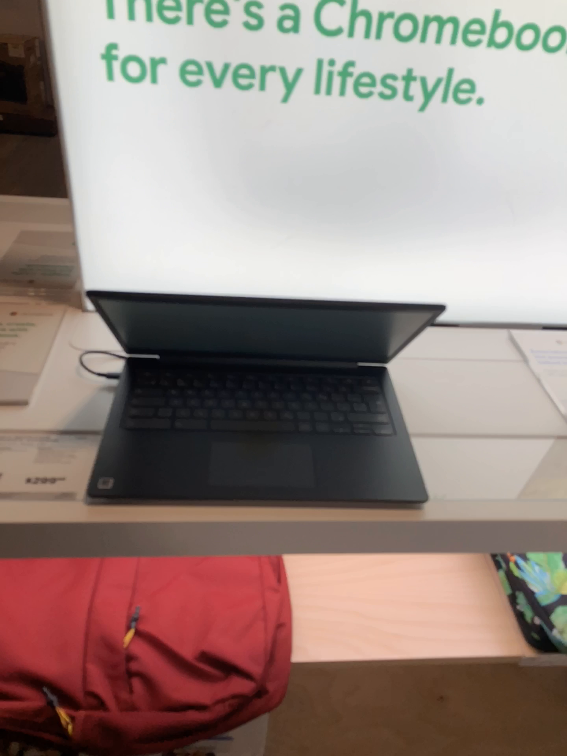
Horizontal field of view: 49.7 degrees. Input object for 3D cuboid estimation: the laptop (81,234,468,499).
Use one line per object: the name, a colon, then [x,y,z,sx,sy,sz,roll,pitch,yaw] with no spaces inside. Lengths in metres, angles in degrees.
laptop: [-0.013,-0.018,0.615,0.306,0.157,0.214,2,36,-4]
